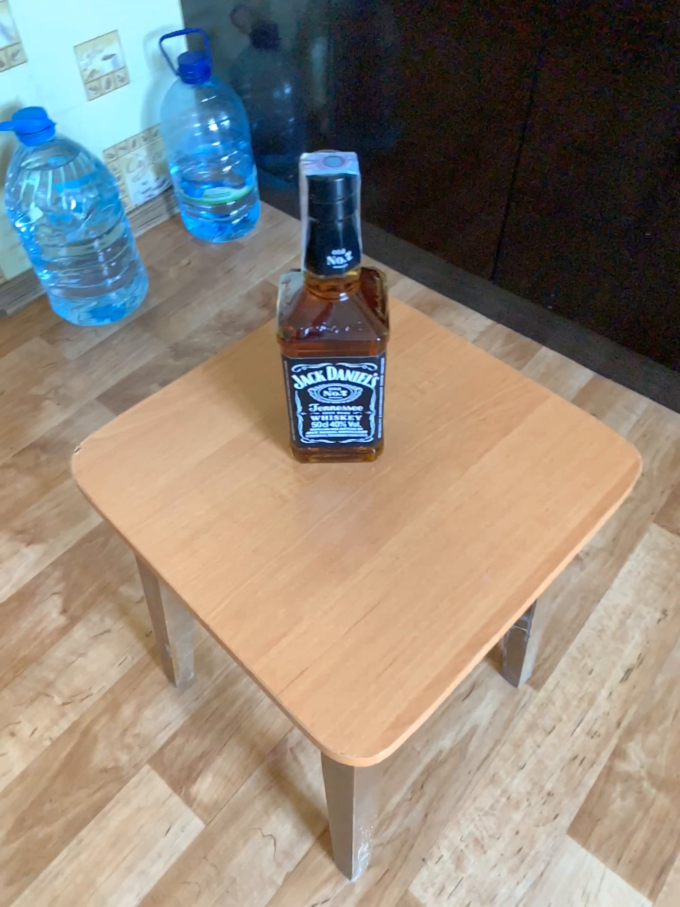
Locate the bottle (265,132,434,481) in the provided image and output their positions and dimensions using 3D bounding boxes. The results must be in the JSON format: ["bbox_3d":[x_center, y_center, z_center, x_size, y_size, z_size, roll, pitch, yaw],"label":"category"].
[{"bbox_3d":[0.003,-0.078,0.435,0.080,0.209,0.080,0,52,0],"label":"bottle"}]
